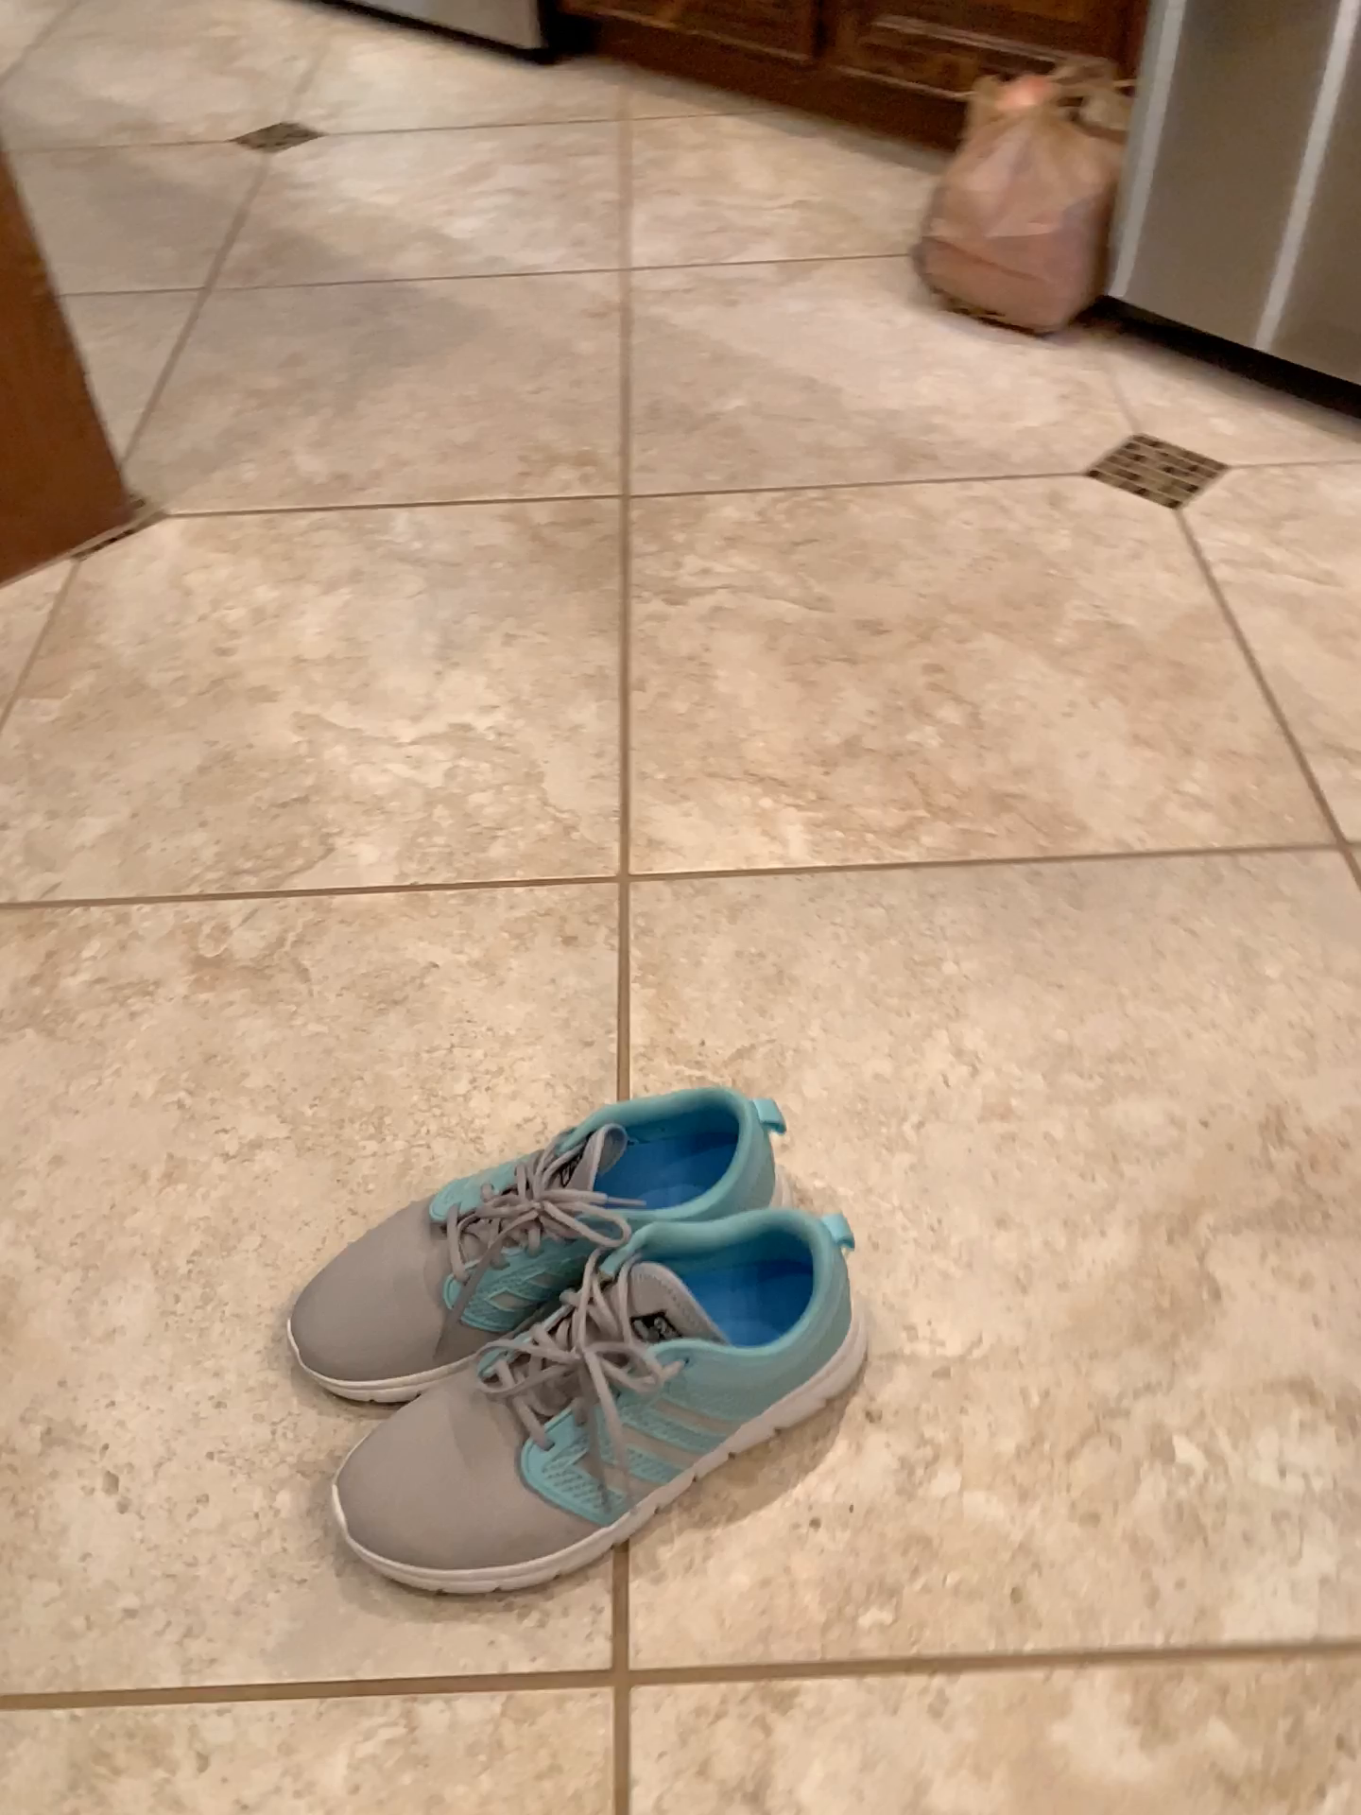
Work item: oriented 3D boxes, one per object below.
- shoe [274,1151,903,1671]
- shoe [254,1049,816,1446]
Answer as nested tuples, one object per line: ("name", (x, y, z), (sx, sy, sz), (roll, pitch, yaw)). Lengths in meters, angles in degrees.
("shoe", (-0.040, 0.241, 0.681), (0.271, 0.108, 0.107), (-20, 49, -15))
("shoe", (-0.075, 0.180, 0.744), (0.271, 0.108, 0.107), (-12, 47, -8))
